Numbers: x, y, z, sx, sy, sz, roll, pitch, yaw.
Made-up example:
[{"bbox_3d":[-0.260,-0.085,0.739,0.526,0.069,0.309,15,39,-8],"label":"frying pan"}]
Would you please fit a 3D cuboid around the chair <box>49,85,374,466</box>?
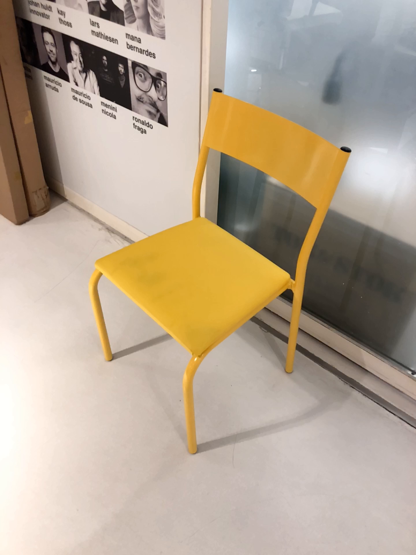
[{"bbox_3d":[-0.001,-0.003,1.272,0.522,0.784,0.492,-31,52,-31],"label":"chair"}]
